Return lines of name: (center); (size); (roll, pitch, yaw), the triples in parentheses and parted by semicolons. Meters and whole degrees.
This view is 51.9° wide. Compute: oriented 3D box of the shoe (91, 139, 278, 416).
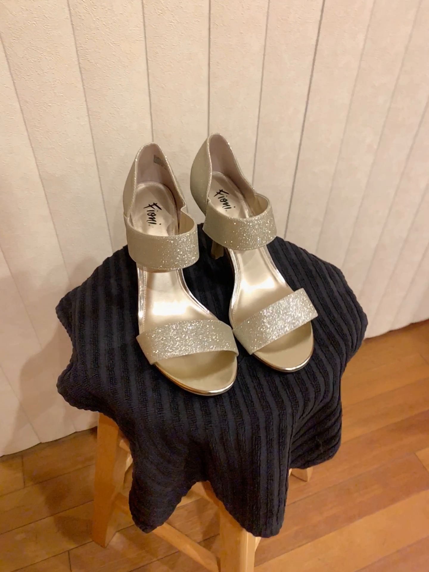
shoe: (-0.041, -0.023, 0.429); (0.095, 0.129, 0.236); (-14, 46, -15)

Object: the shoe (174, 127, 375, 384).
shoe: (0.039, -0.045, 0.452); (0.090, 0.129, 0.237); (-14, 46, -15)
